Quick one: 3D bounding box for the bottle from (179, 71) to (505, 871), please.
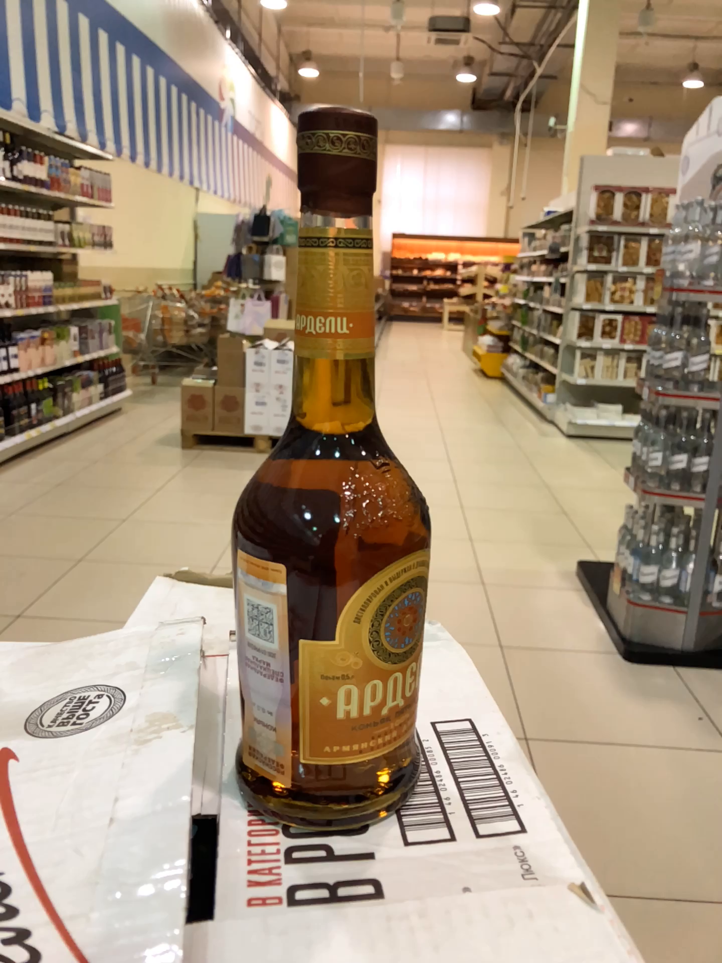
[{"bbox_3d":[-0.011,-0.002,0.305,0.080,0.259,0.080,2,14,-1],"label":"bottle"}]
